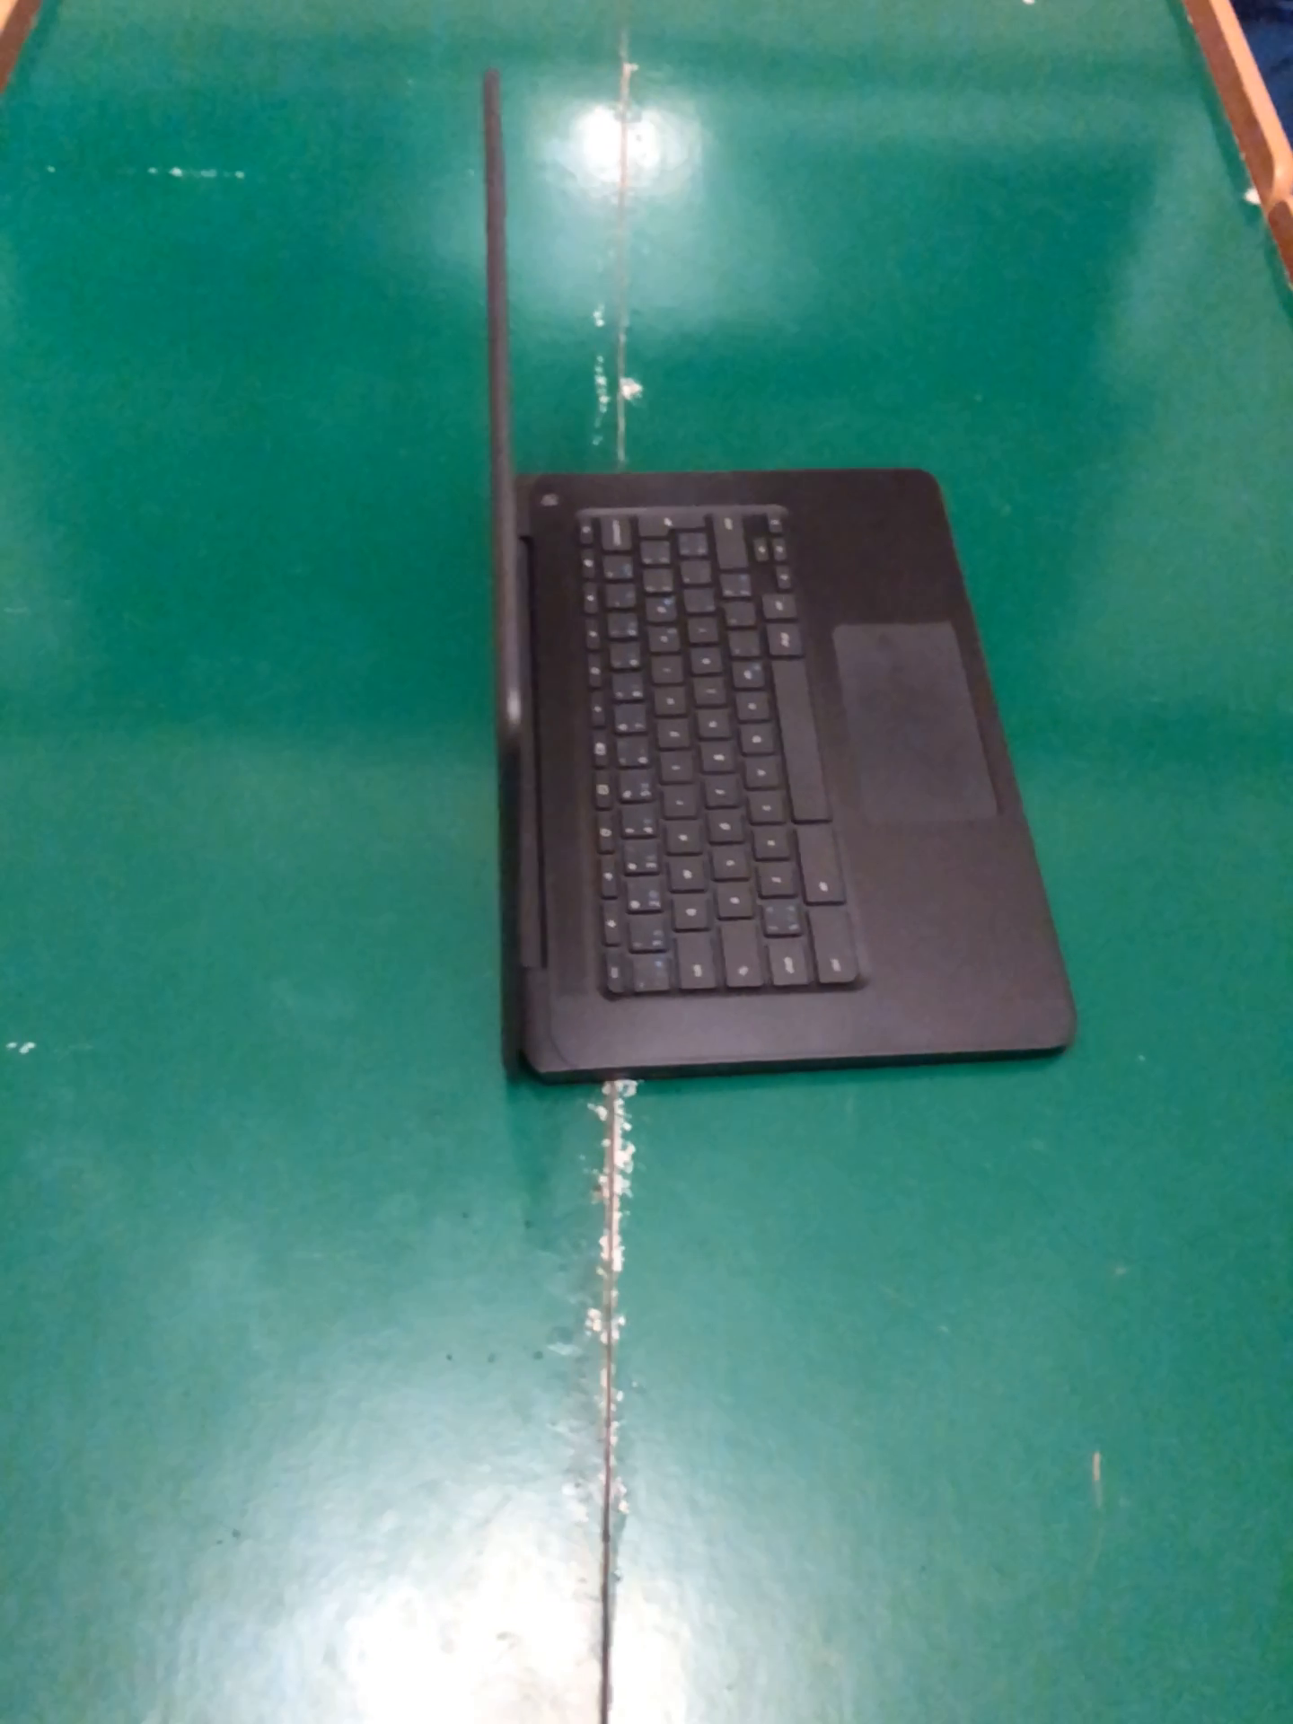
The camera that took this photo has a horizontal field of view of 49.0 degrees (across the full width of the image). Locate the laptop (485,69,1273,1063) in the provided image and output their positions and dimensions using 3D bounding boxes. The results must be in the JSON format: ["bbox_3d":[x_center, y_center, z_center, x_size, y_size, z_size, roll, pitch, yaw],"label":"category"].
[{"bbox_3d":[0.053,-0.116,0.551,0.210,0.204,0.319,-2,58,-4],"label":"laptop"}]
